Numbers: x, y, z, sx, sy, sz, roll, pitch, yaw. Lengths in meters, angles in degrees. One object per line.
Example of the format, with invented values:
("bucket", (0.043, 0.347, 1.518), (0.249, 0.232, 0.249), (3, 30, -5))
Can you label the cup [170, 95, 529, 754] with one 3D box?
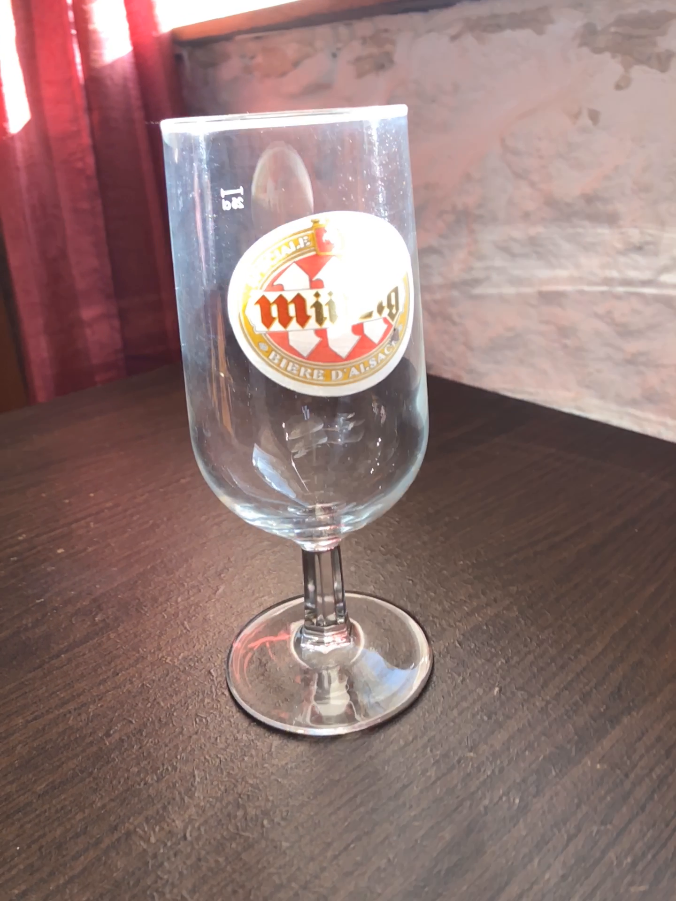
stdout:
("cup", (0.001, -0.010, 0.208), (0.067, 0.155, 0.070), (-3, 23, 1))
